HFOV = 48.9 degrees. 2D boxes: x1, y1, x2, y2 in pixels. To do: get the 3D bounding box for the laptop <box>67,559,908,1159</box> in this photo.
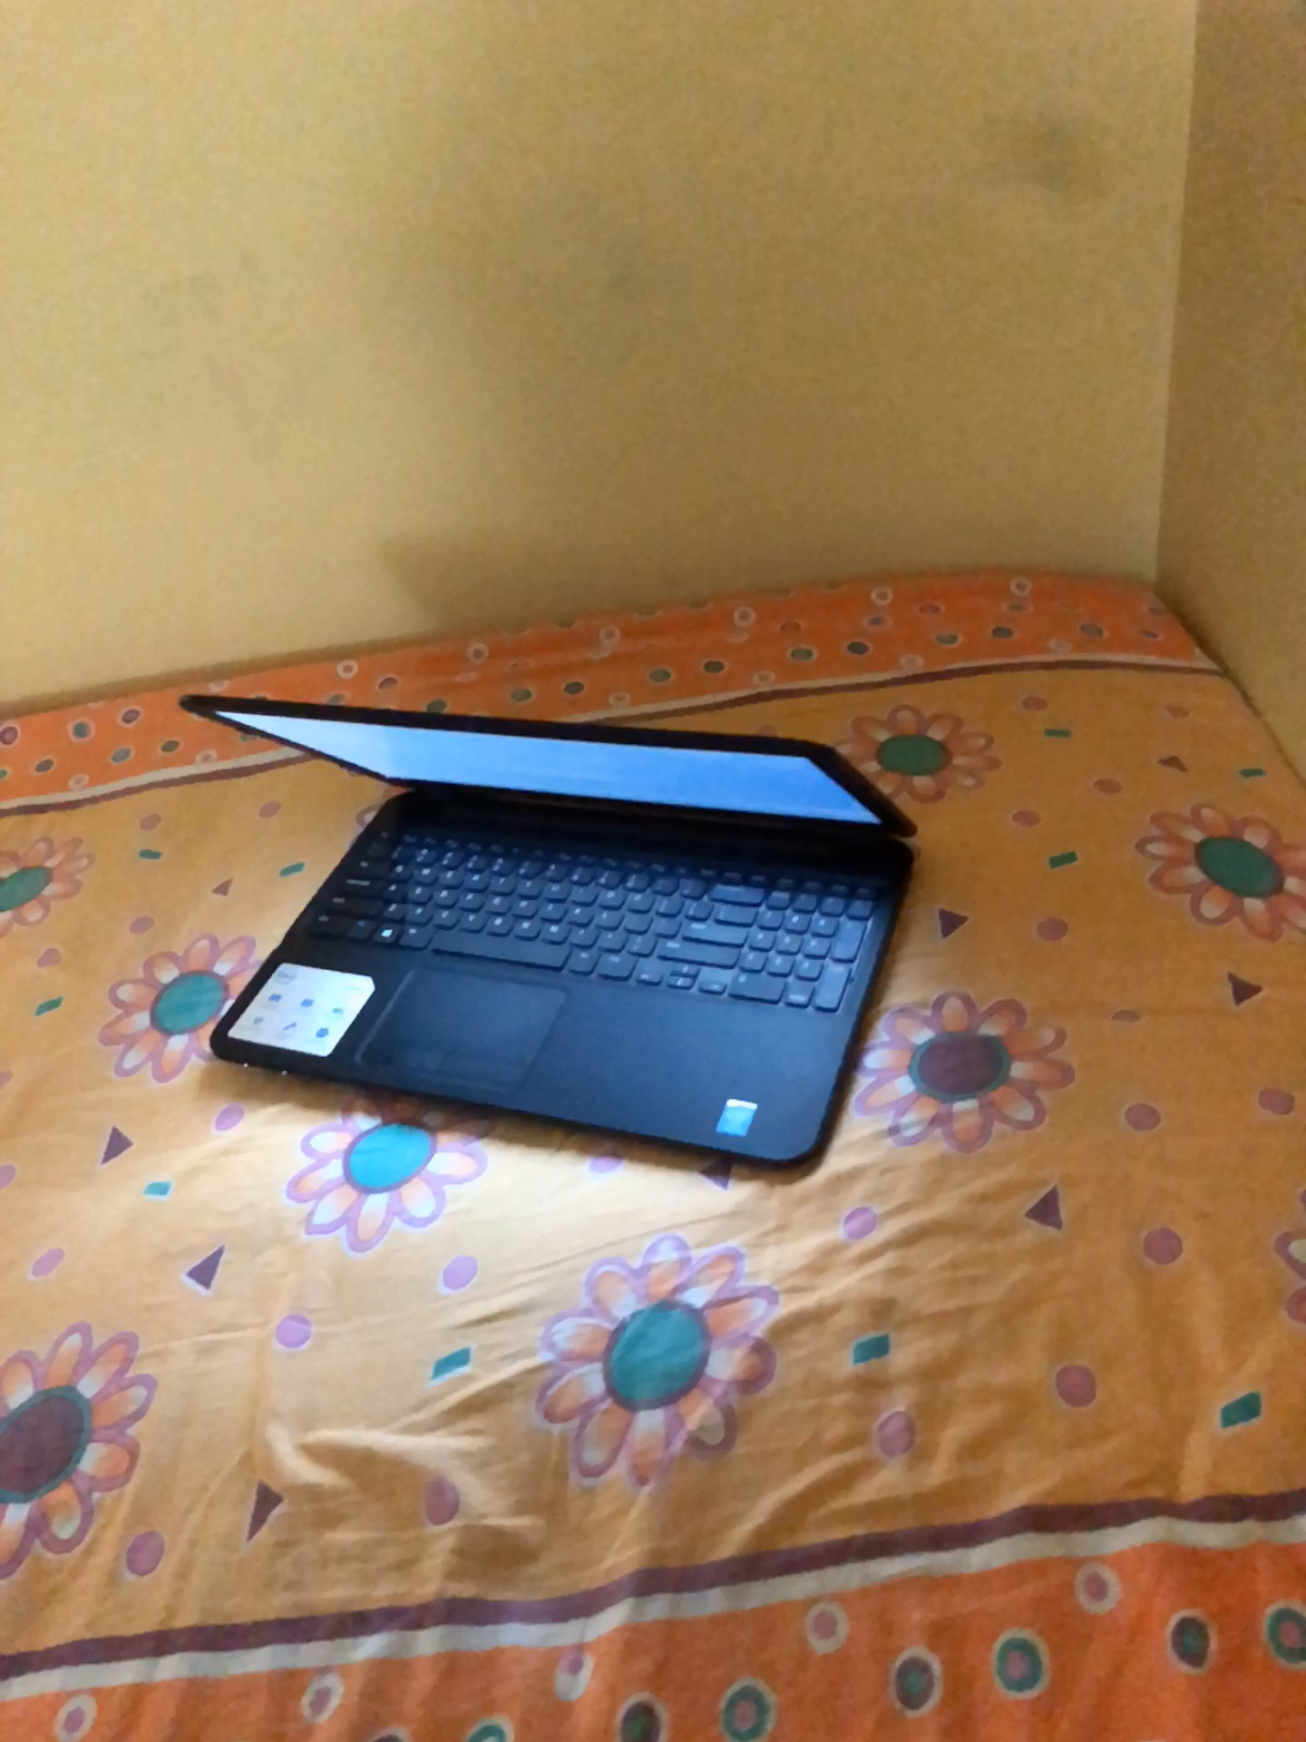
[{"bbox_3d":[-0.070,-0.024,0.797,0.366,0.190,0.238,6,44,21],"label":"laptop"}]
